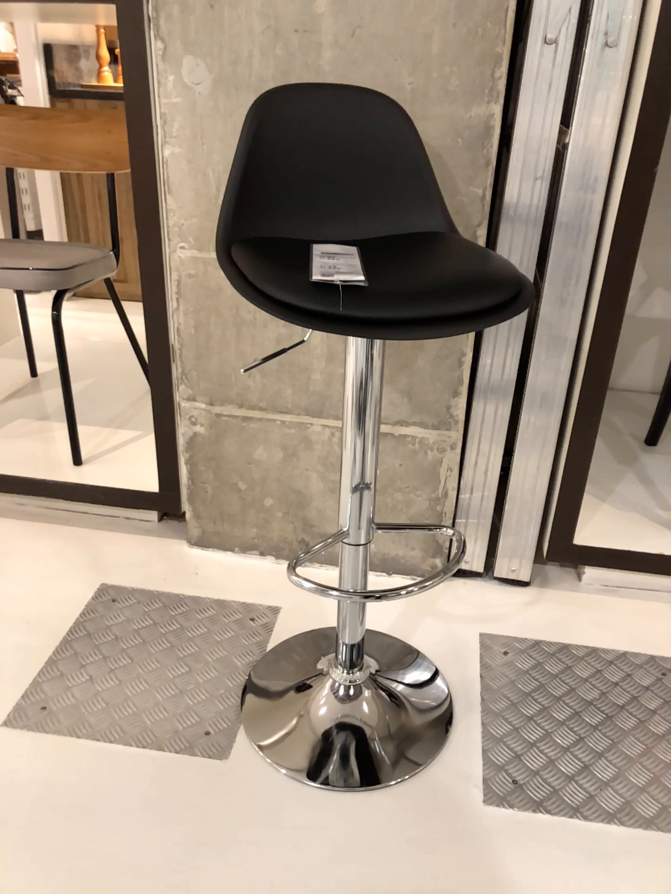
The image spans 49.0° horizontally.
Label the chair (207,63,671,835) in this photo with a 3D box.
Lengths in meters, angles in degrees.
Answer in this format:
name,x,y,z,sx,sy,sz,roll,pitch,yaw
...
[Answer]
name,x,y,z,sx,sy,sz,roll,pitch,yaw
chair,0.057,0.001,1.114,0.430,1.012,0.473,-4,28,-12
